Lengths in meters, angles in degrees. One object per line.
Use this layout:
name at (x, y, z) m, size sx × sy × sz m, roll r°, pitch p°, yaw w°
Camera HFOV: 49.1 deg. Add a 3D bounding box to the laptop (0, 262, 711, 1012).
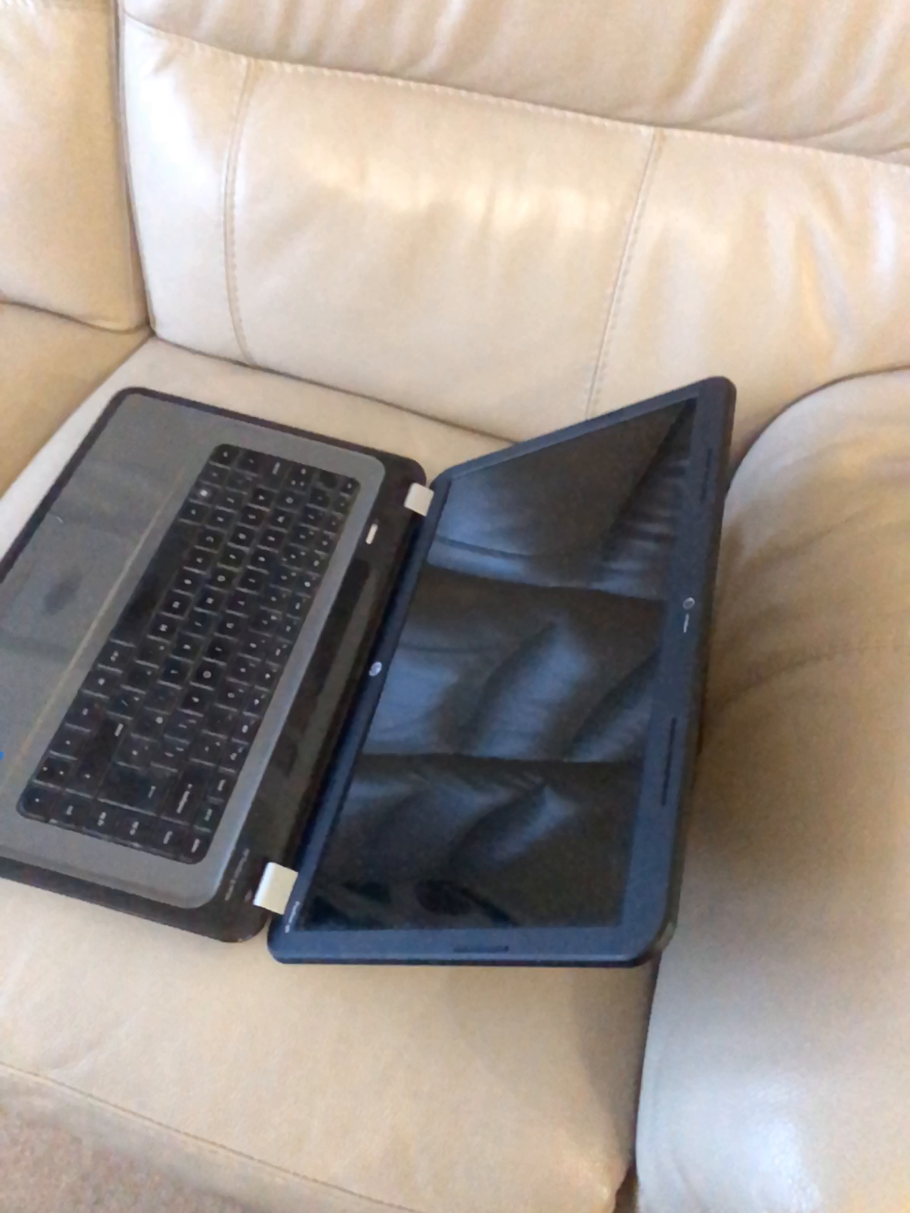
laptop at (-0.090, -0.009, 0.589) m, size 0.424 × 0.115 × 0.359 m, roll 12°, pitch 57°, yaw 6°
